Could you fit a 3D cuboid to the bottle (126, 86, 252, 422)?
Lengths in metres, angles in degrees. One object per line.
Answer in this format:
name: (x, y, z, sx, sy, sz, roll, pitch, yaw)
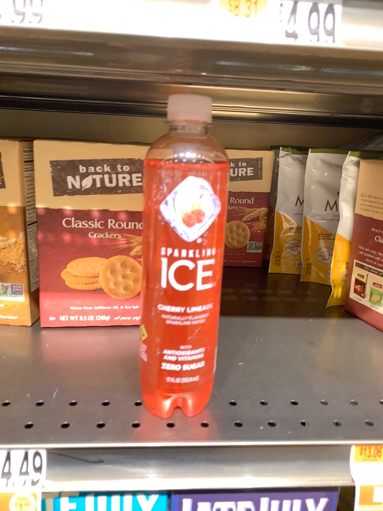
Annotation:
bottle: (-0.009, 0.004, 0.266, 0.065, 0.210, 0.060, 3, 18, -1)
